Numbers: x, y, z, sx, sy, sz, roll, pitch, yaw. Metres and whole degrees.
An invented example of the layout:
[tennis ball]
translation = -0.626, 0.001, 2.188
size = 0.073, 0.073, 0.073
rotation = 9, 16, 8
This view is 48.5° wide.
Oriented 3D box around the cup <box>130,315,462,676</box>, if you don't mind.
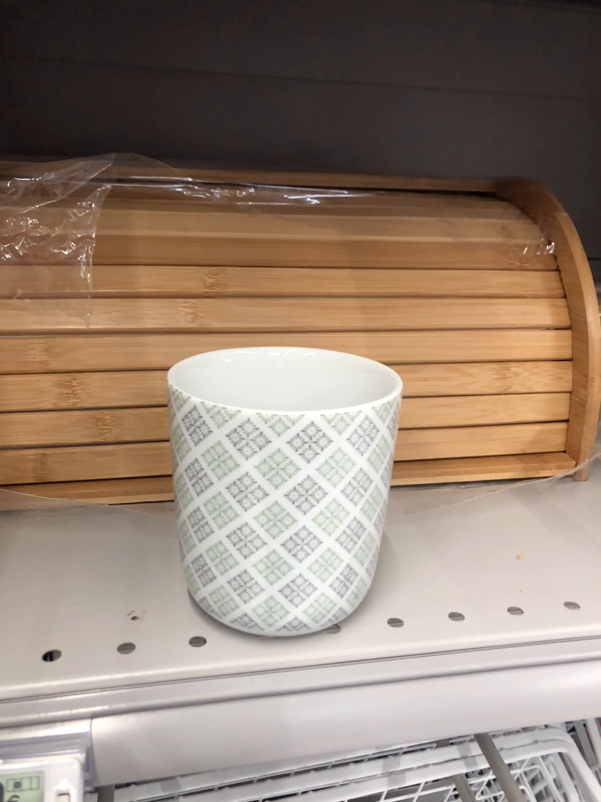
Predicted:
[cup]
translation = 0.004, 0.024, 0.274
size = 0.085, 0.090, 0.119
rotation = 12, 20, 24
